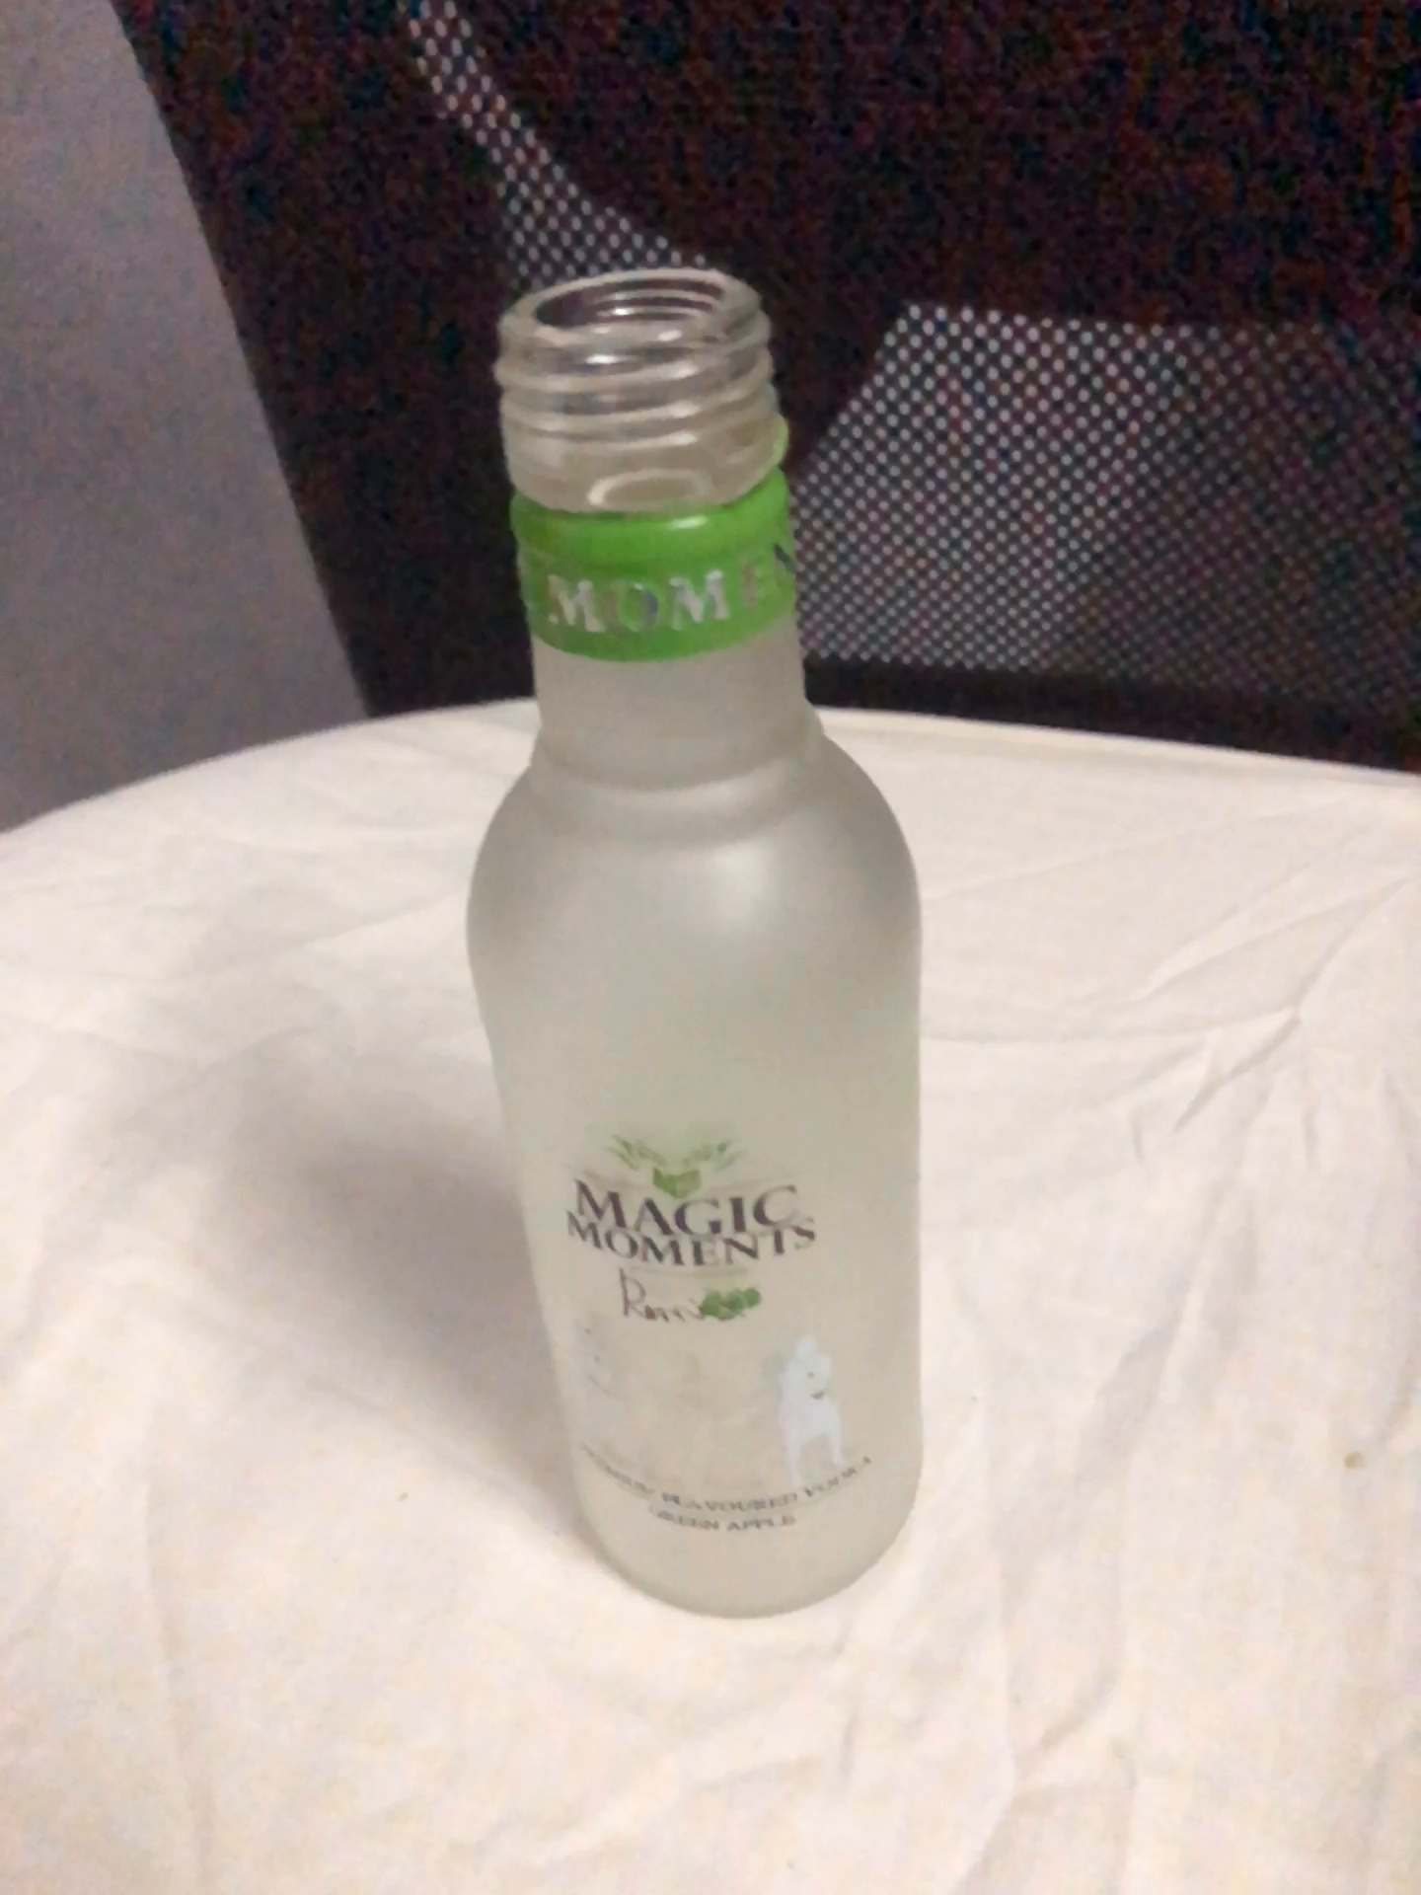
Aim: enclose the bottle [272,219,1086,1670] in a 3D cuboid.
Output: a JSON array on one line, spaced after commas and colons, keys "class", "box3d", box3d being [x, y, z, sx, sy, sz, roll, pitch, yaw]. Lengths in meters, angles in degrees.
[{"class": "bottle", "box3d": [0.006, 0.012, 0.186, 0.060, 0.169, 0.050, 4, 38, 11]}]
